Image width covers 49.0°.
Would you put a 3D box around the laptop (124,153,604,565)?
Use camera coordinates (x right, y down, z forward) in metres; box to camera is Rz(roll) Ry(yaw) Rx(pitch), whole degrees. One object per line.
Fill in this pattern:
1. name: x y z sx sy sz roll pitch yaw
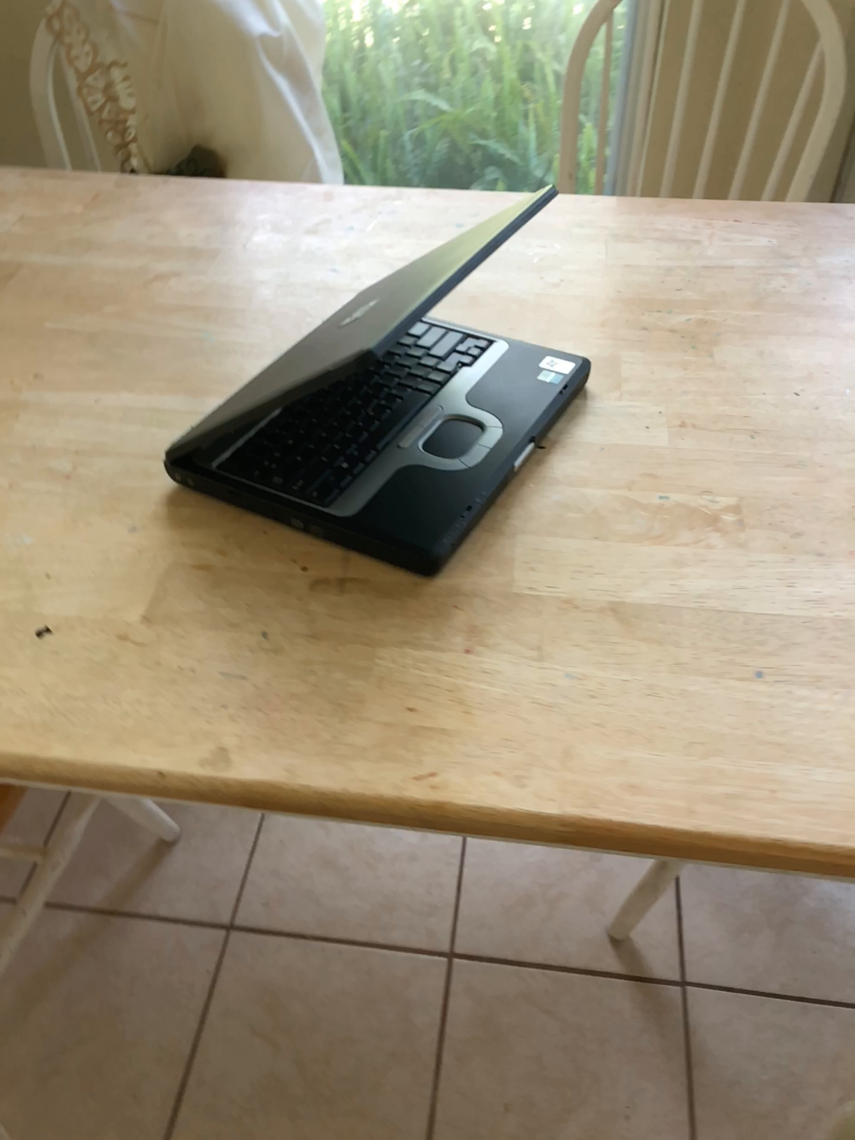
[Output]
1. laptop: -0.037 -0.197 0.790 0.255 0.162 0.307 20 48 22
